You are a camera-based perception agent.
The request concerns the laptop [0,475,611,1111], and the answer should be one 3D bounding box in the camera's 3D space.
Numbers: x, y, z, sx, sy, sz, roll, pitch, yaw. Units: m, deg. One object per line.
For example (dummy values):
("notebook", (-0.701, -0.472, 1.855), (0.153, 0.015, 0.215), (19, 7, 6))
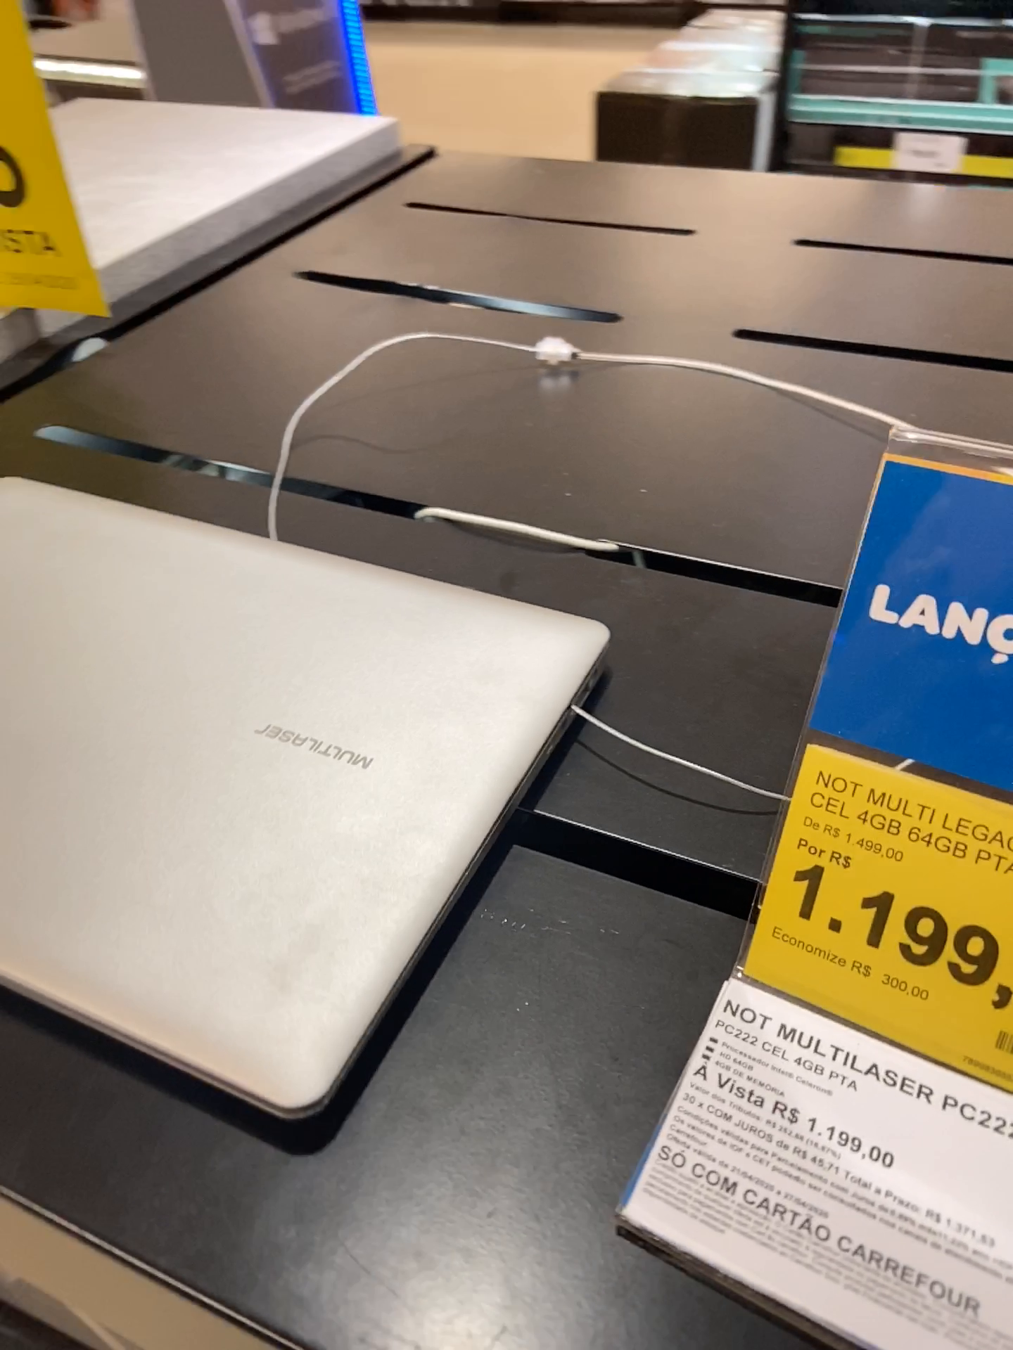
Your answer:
("laptop", (-0.146, 0.005, 0.381), (0.315, 0.003, 0.206), (15, 44, 21))
